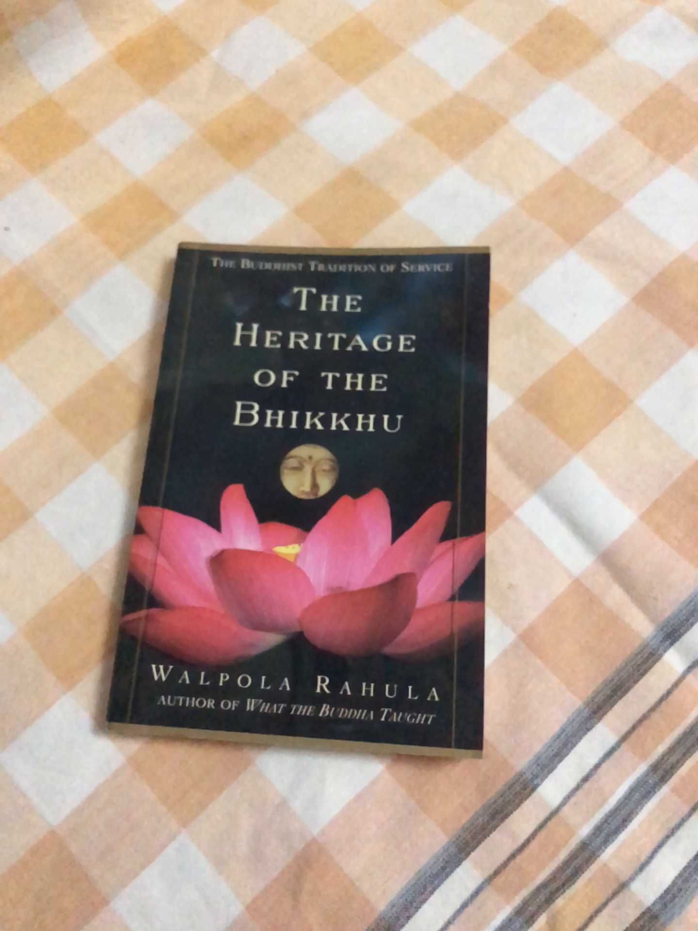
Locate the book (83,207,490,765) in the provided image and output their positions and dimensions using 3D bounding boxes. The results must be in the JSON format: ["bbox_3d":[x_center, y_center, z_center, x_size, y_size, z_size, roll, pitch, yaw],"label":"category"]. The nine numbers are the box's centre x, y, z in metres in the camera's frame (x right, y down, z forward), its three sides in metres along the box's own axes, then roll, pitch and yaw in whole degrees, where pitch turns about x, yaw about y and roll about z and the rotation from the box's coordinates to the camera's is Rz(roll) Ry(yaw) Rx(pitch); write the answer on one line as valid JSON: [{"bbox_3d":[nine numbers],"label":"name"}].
[{"bbox_3d":[-0.015,-0.001,0.316,0.140,0.030,0.220,3,71,3],"label":"book"}]
